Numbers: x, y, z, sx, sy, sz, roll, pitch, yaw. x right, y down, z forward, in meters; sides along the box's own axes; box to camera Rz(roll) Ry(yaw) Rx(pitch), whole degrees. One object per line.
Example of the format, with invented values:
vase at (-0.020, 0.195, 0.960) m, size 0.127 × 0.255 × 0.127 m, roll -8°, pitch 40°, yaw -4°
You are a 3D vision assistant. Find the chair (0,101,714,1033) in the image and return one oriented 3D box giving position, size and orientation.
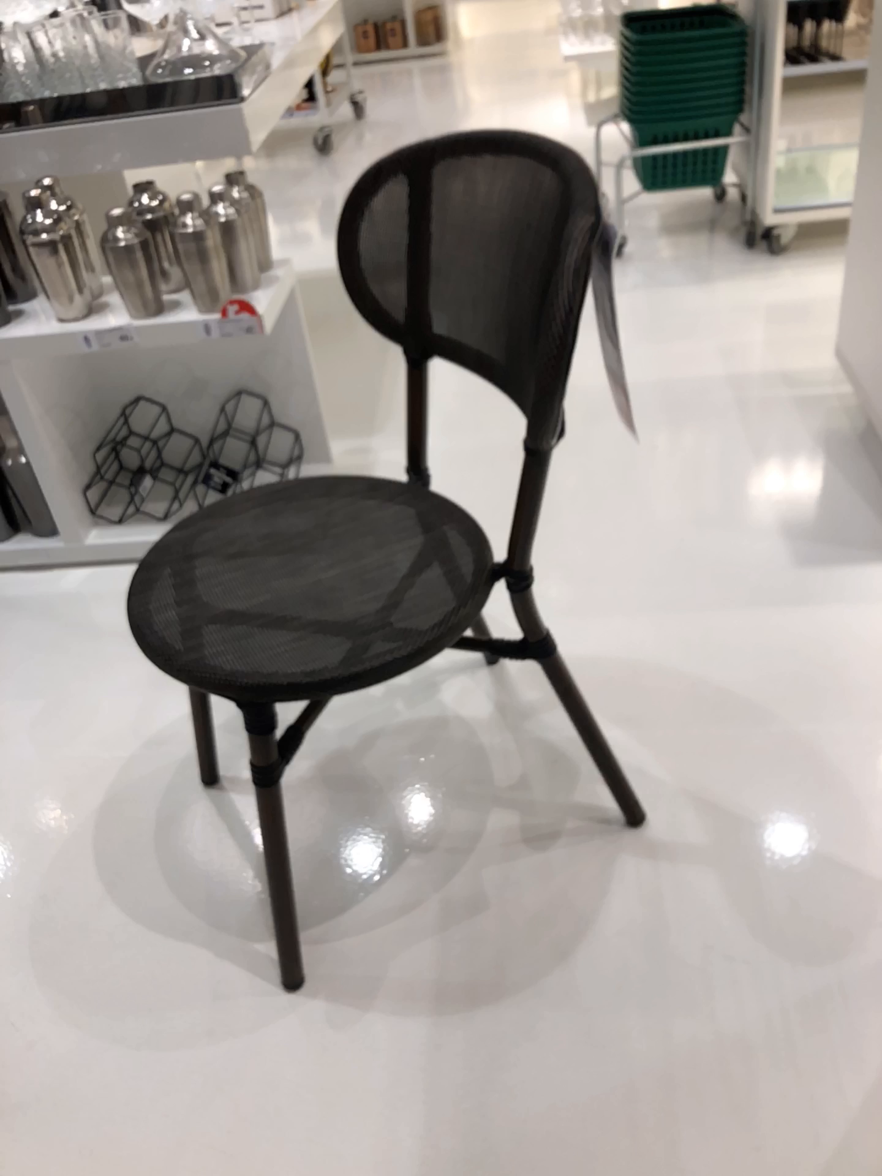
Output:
chair at (-0.086, -0.040, 1.089) m, size 0.551 × 0.764 × 0.473 m, roll -22°, pitch 38°, yaw -17°
